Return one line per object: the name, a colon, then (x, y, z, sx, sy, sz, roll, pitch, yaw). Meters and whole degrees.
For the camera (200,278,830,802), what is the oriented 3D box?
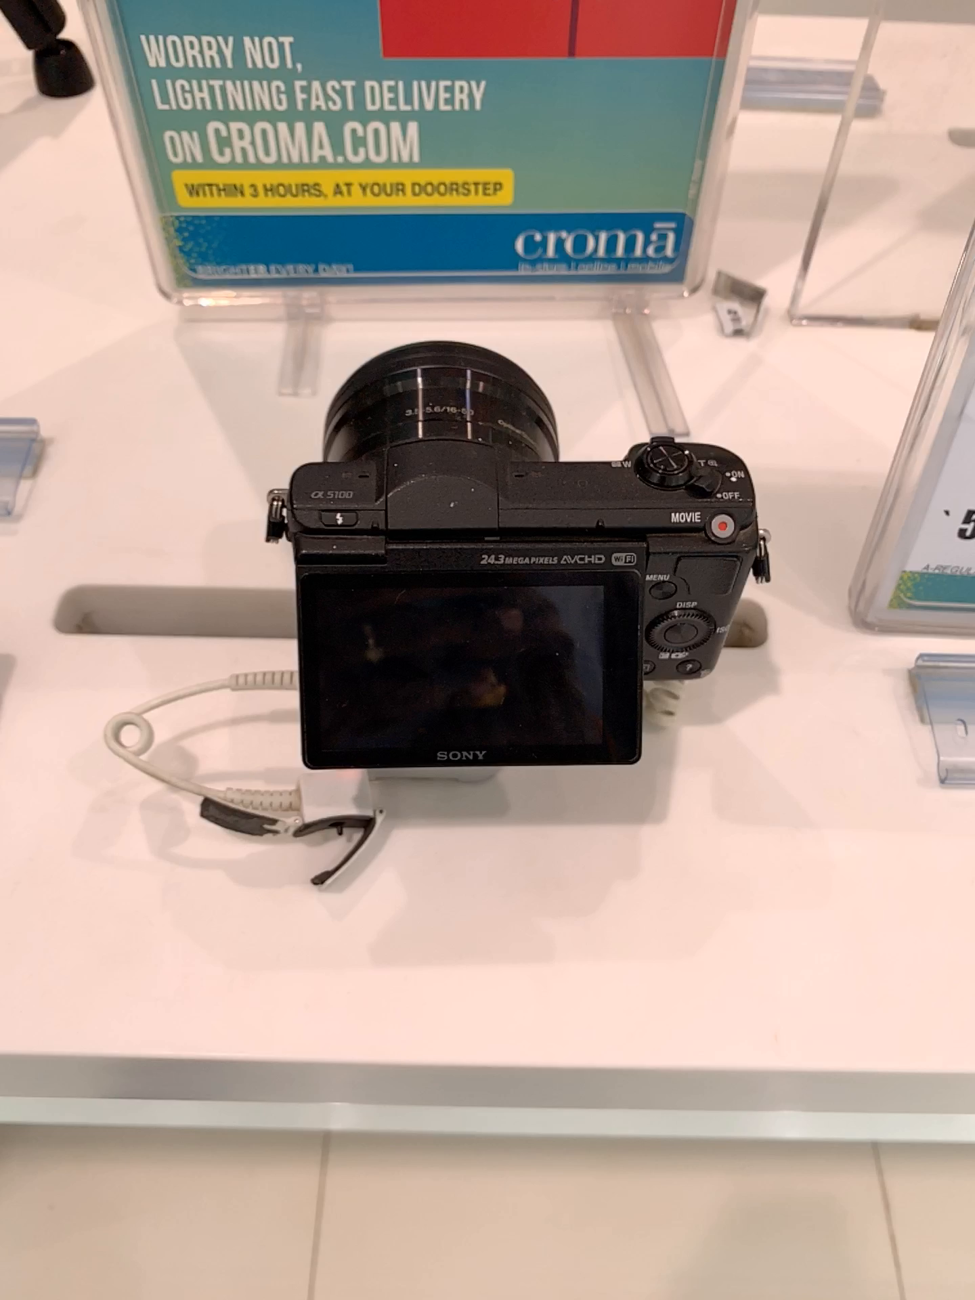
camera: (0.003, -0.025, 0.237, 0.110, 0.082, 0.088, -1, 53, -2)
